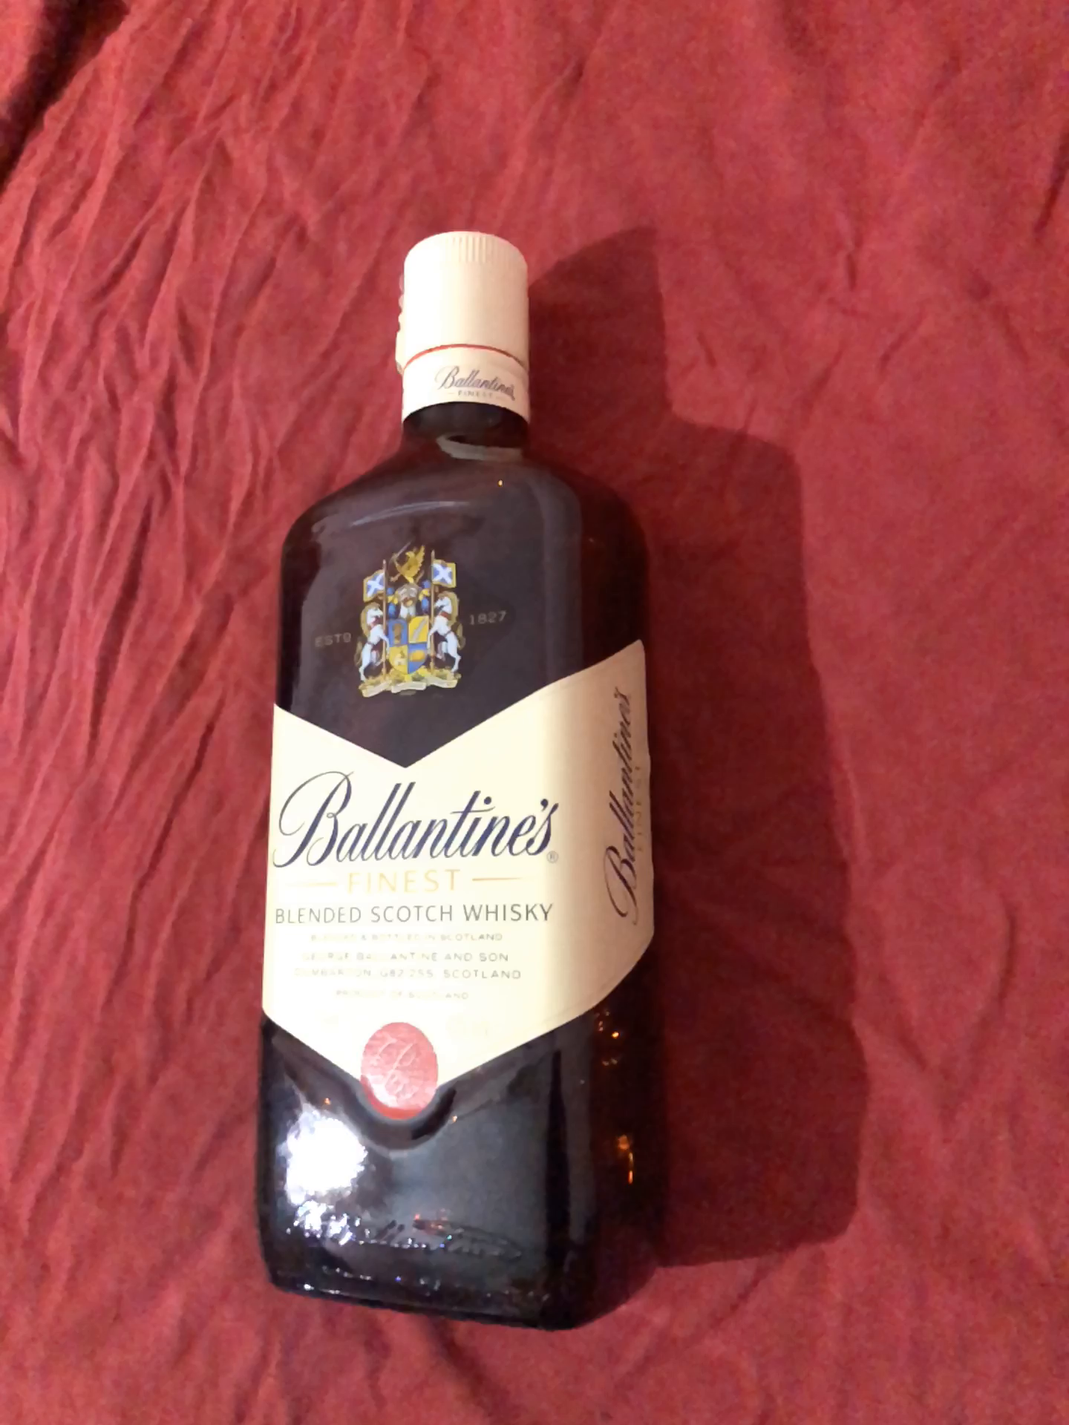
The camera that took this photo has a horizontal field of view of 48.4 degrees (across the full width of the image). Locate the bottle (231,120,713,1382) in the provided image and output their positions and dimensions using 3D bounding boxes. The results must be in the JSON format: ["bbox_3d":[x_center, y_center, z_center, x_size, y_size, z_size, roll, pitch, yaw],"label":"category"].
[{"bbox_3d":[-0.014,0.004,0.273,0.090,0.050,0.250,-4,80,22],"label":"bottle"}]
